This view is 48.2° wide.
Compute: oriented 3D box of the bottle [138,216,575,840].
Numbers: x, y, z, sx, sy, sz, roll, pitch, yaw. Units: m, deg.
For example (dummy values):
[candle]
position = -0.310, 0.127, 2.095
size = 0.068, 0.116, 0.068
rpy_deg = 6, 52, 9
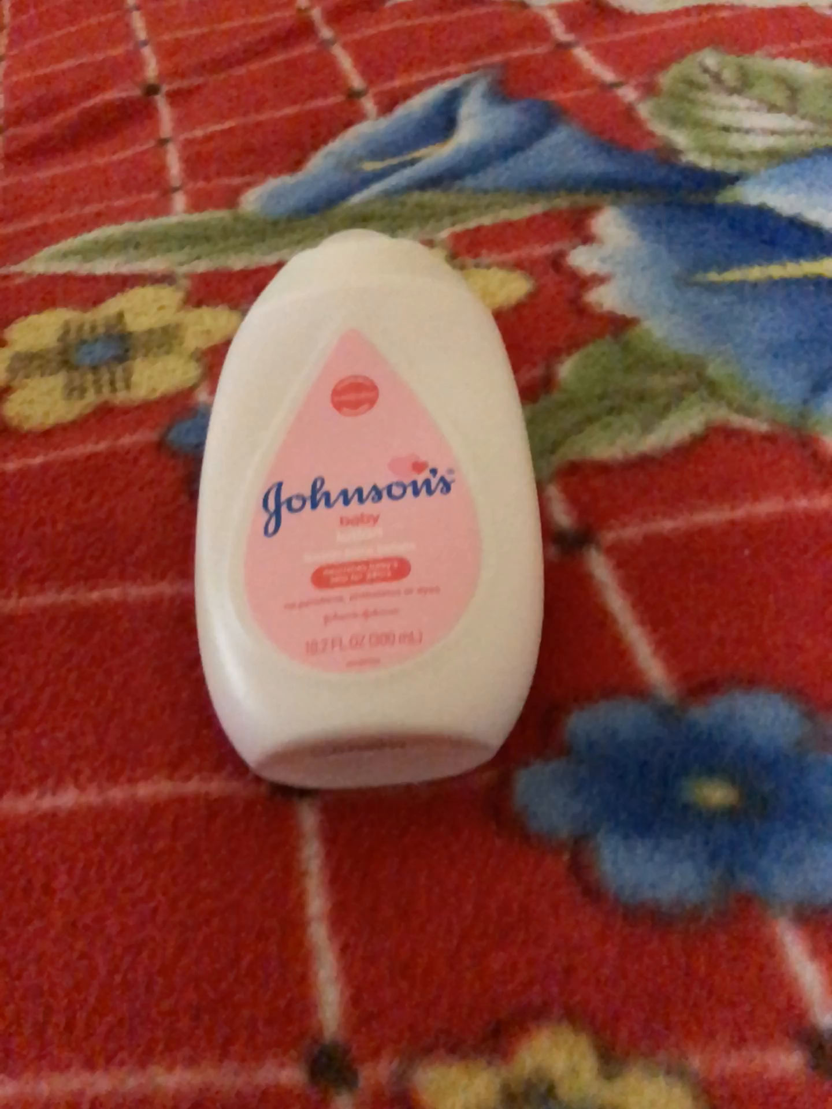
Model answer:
[bottle]
position = -0.012, -0.020, 0.235
size = 0.080, 0.030, 0.170
rpy_deg = -8, 50, 7
